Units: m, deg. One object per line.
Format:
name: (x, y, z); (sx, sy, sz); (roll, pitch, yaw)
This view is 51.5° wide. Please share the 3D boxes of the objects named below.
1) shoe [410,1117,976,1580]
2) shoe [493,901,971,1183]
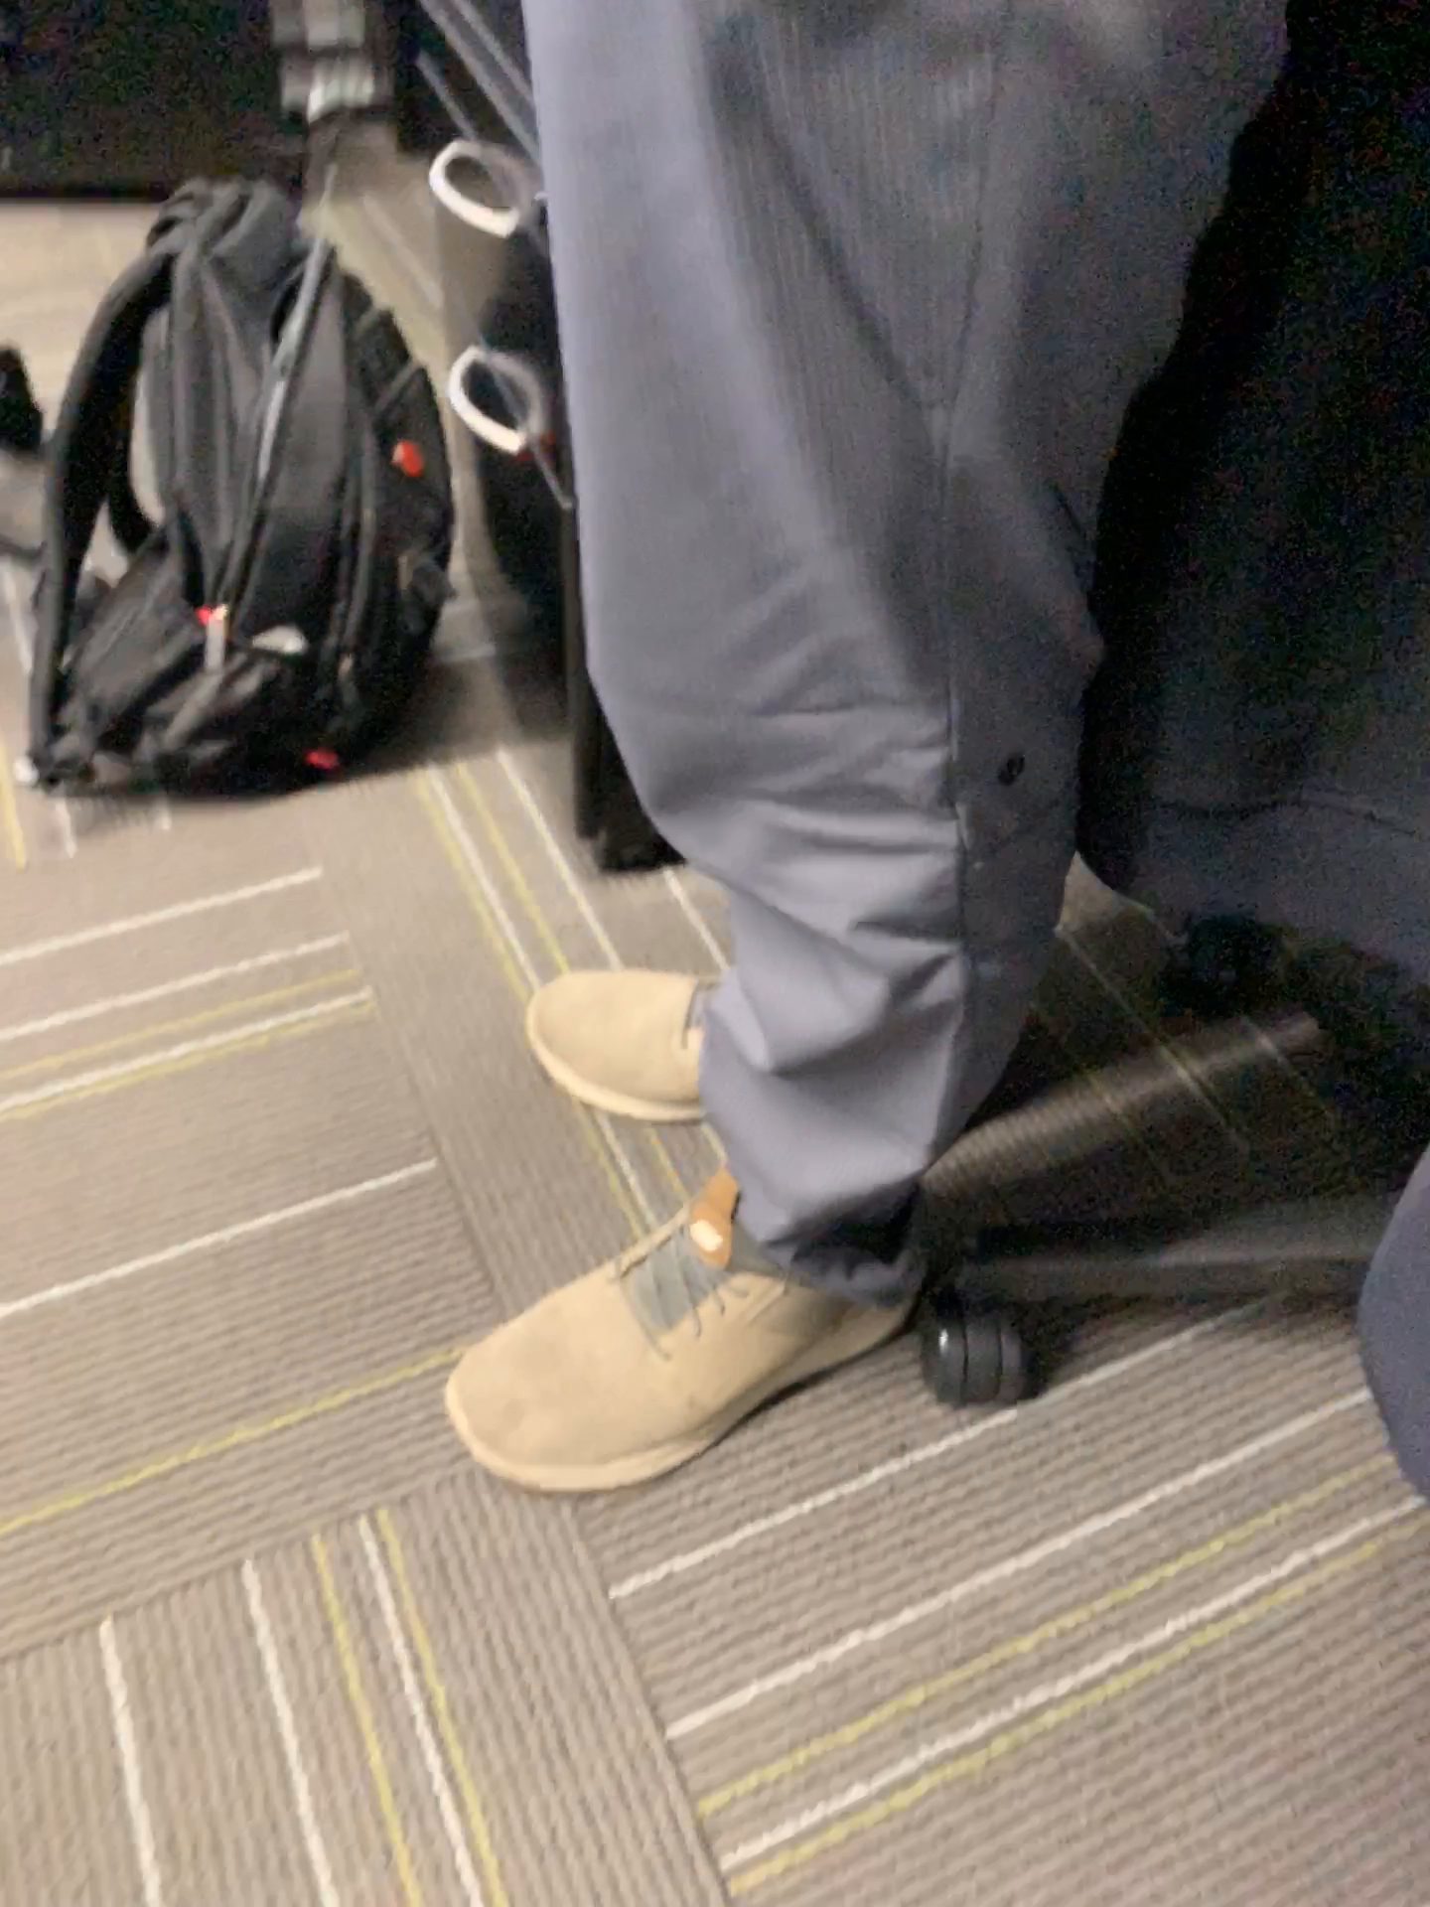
shoe: (-0.012, 0.228, 0.888); (0.302, 0.098, 0.126); (-20, 51, -21)
shoe: (0.013, 0.059, 1.010); (0.302, 0.098, 0.108); (9, 47, 5)
